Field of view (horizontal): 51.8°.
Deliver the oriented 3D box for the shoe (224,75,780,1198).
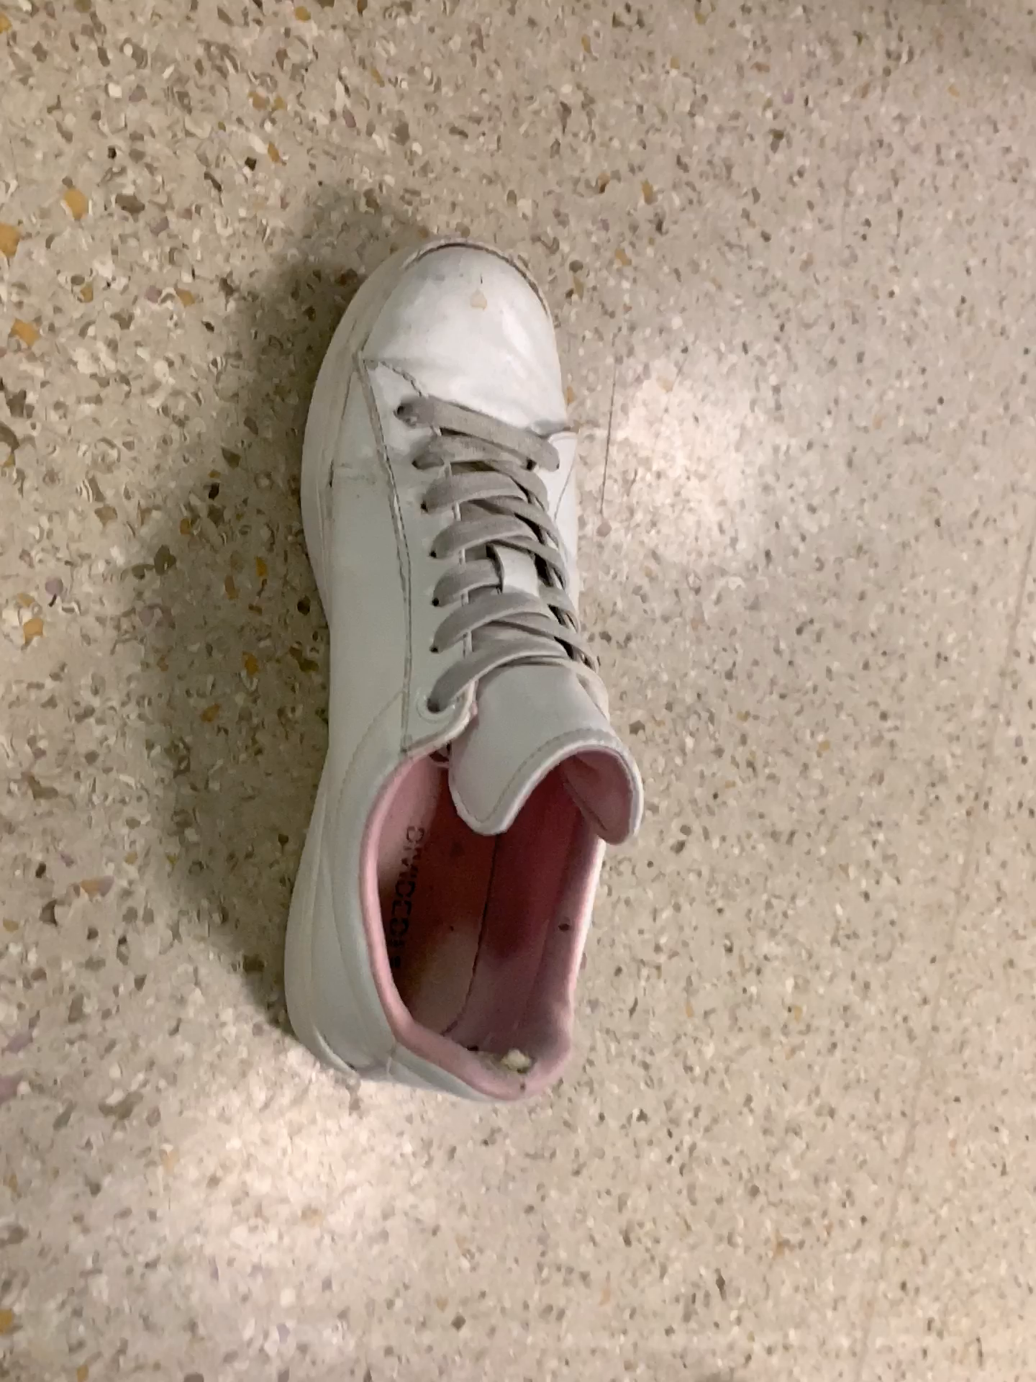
[{"bbox_3d":[-0.004,-0.011,0.306,0.099,0.092,0.255,8,86,-38],"label":"shoe"}]
